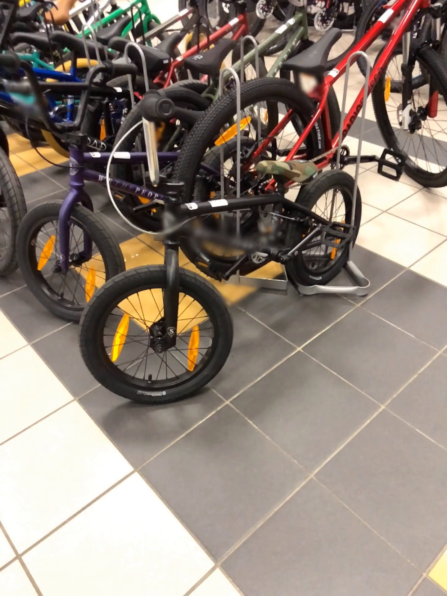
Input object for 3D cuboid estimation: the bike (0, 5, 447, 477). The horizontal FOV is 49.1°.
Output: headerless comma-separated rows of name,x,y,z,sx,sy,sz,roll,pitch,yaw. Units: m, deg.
bike,0.074,-0.273,1.335,1.074,0.810,0.678,-25,44,-30
